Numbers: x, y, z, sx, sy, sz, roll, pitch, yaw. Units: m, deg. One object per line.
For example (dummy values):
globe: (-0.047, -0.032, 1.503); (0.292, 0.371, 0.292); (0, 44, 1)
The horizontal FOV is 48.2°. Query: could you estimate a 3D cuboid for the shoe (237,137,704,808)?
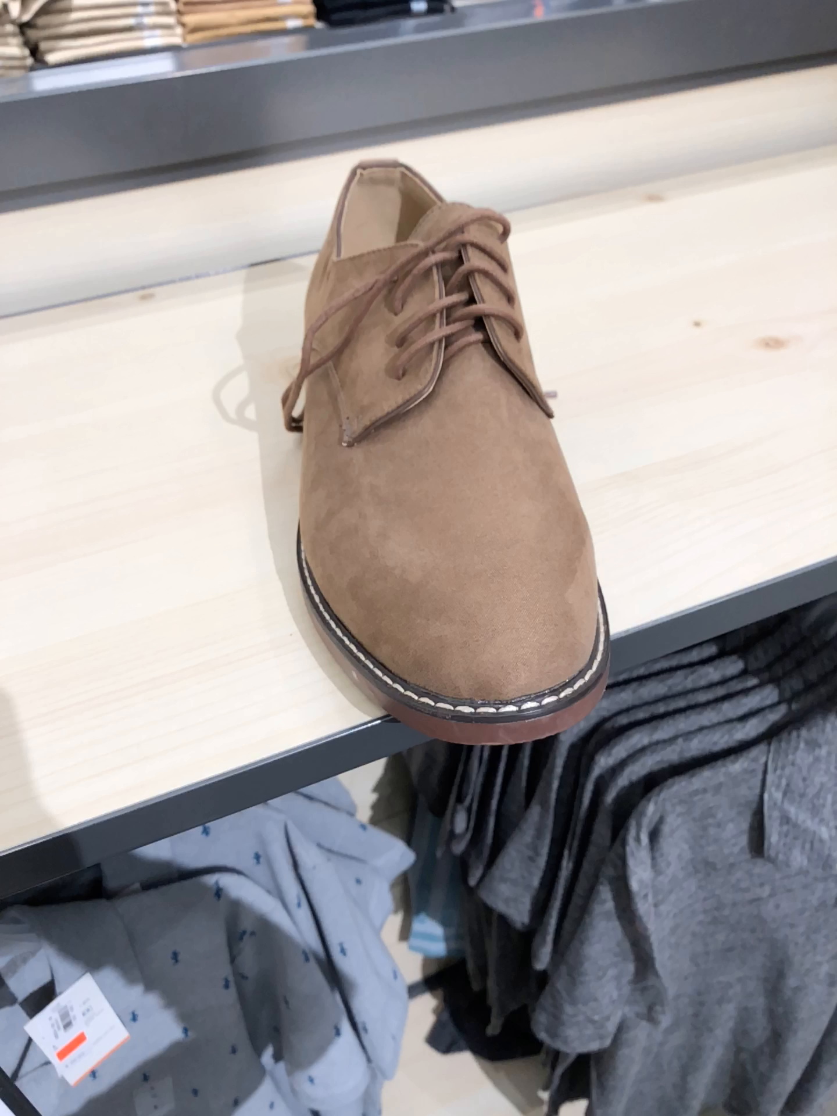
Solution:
shoe: (-0.004, -0.064, 0.386); (0.120, 0.110, 0.301); (-7, 41, -4)
